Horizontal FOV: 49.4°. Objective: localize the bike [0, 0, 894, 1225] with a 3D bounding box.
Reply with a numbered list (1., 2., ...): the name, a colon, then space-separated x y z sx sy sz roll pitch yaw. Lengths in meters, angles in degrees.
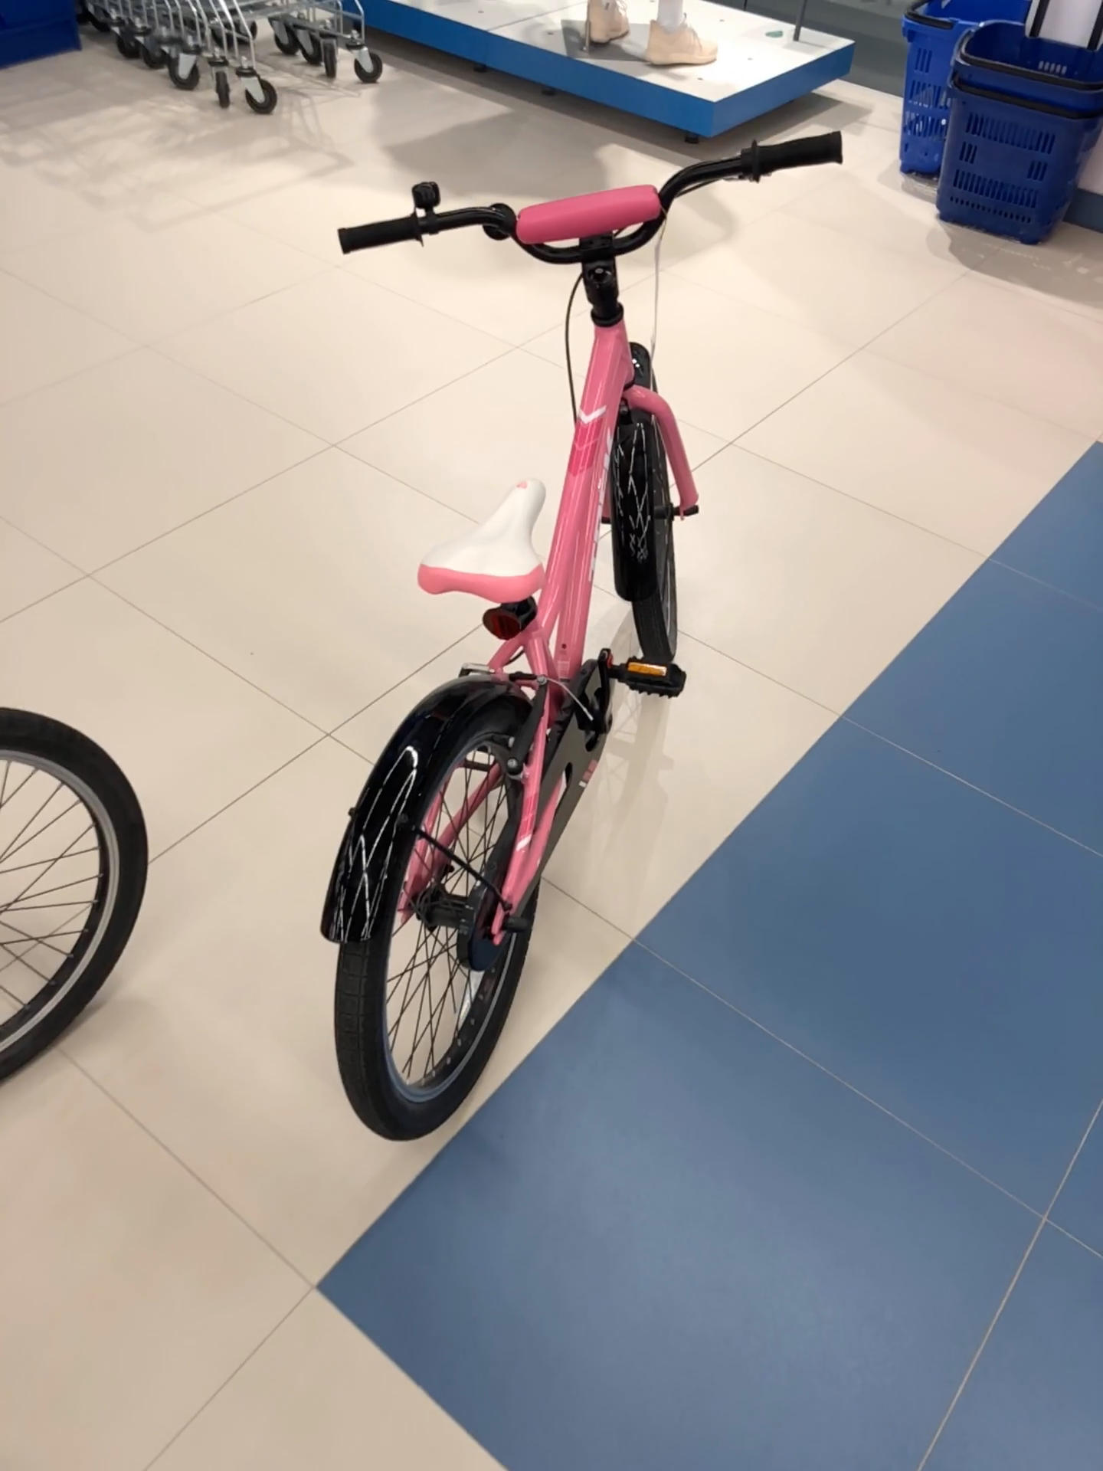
1. bike: -0.018 -0.298 1.483 0.555 0.835 1.303 13 48 8
